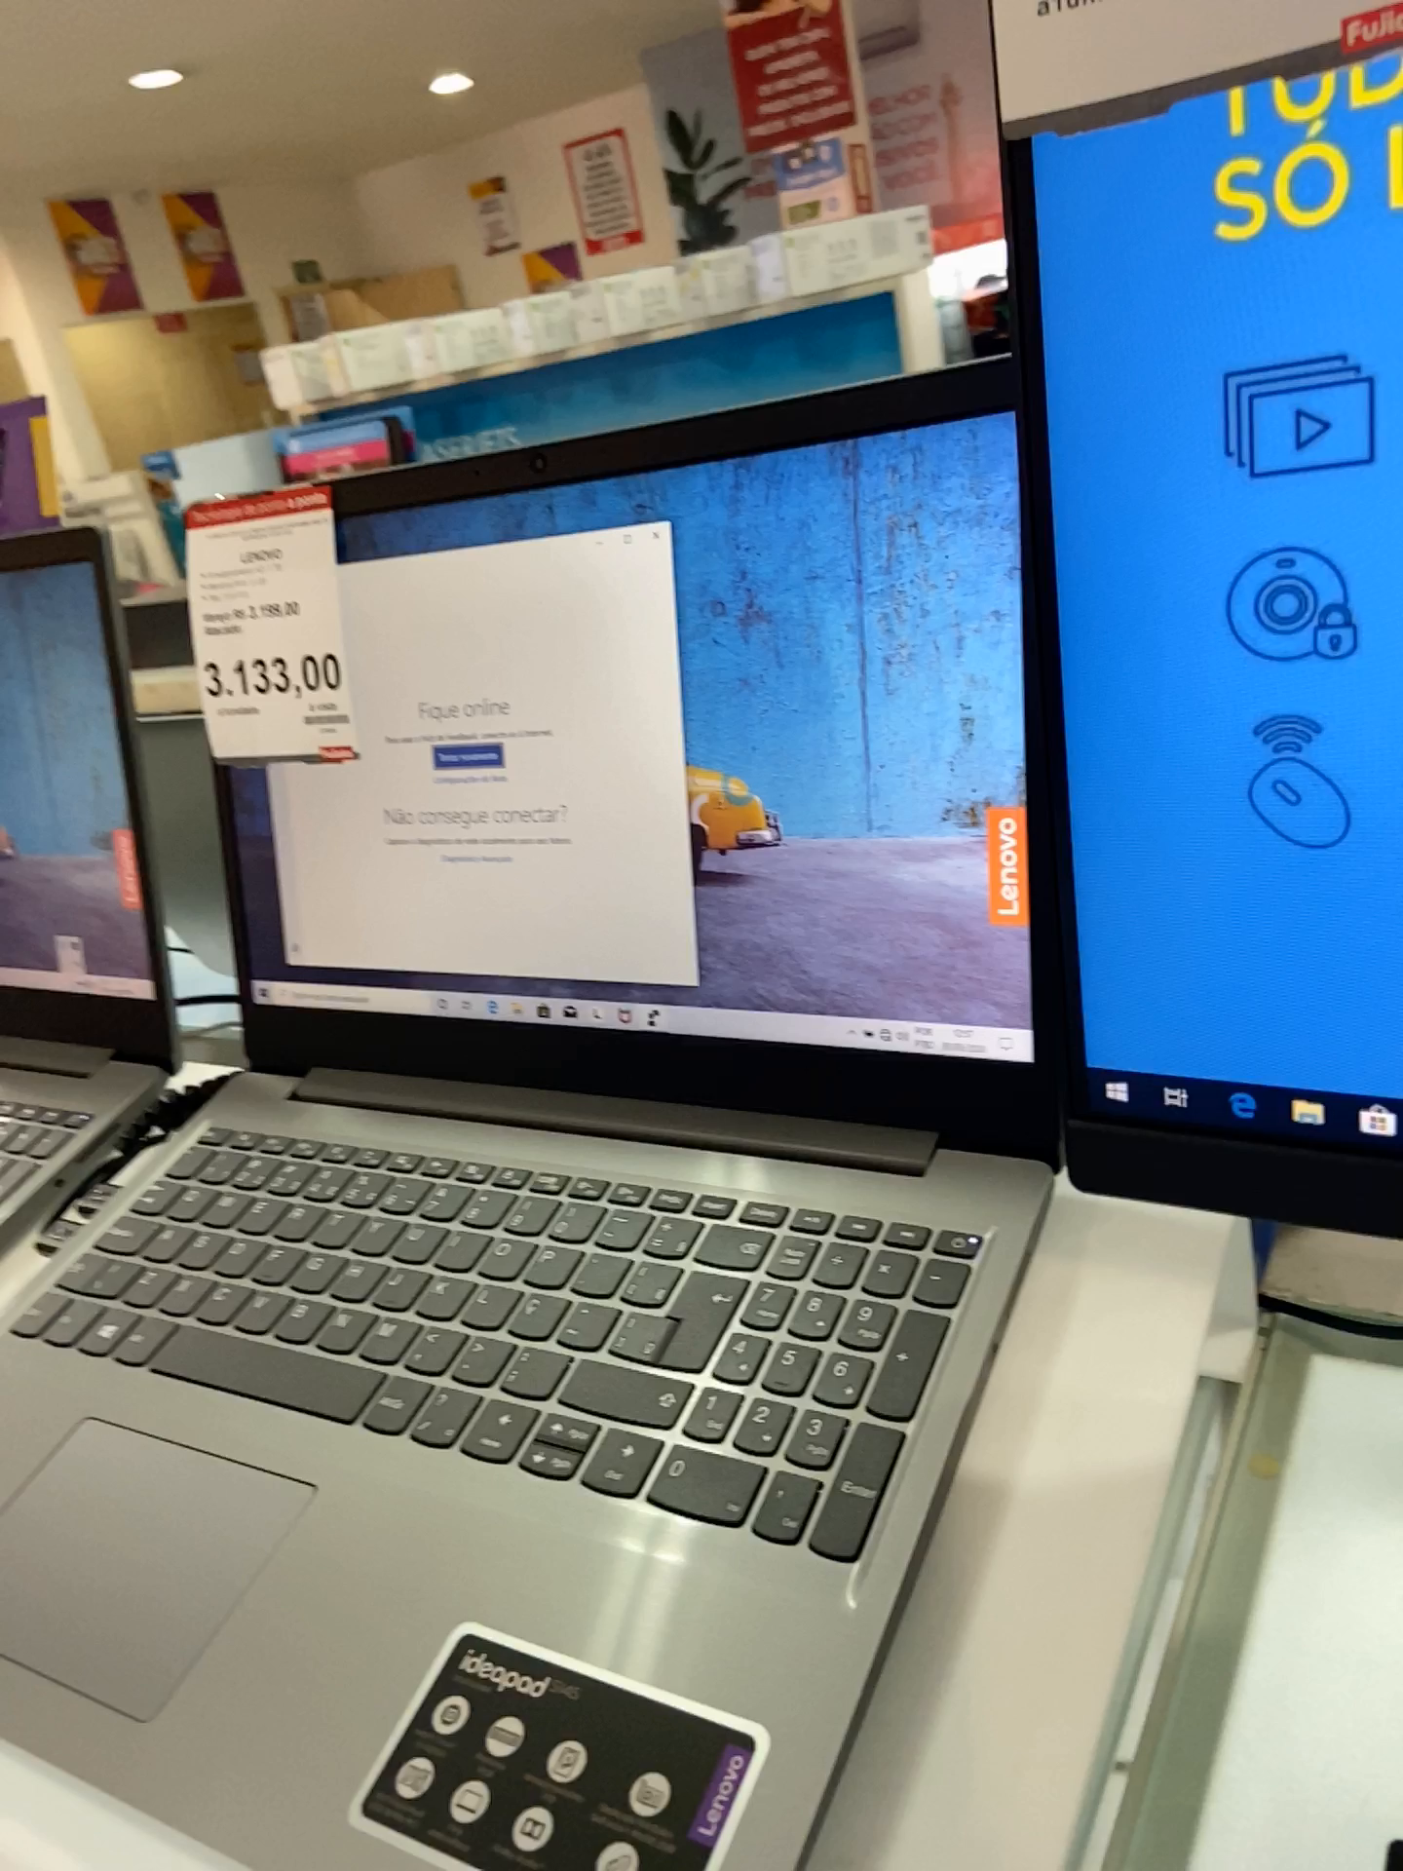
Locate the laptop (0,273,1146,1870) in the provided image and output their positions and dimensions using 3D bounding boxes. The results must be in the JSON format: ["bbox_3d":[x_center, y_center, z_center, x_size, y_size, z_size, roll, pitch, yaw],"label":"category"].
[{"bbox_3d":[-0.098,0.004,0.443,0.362,0.224,0.361,1,33,31],"label":"laptop"}]
